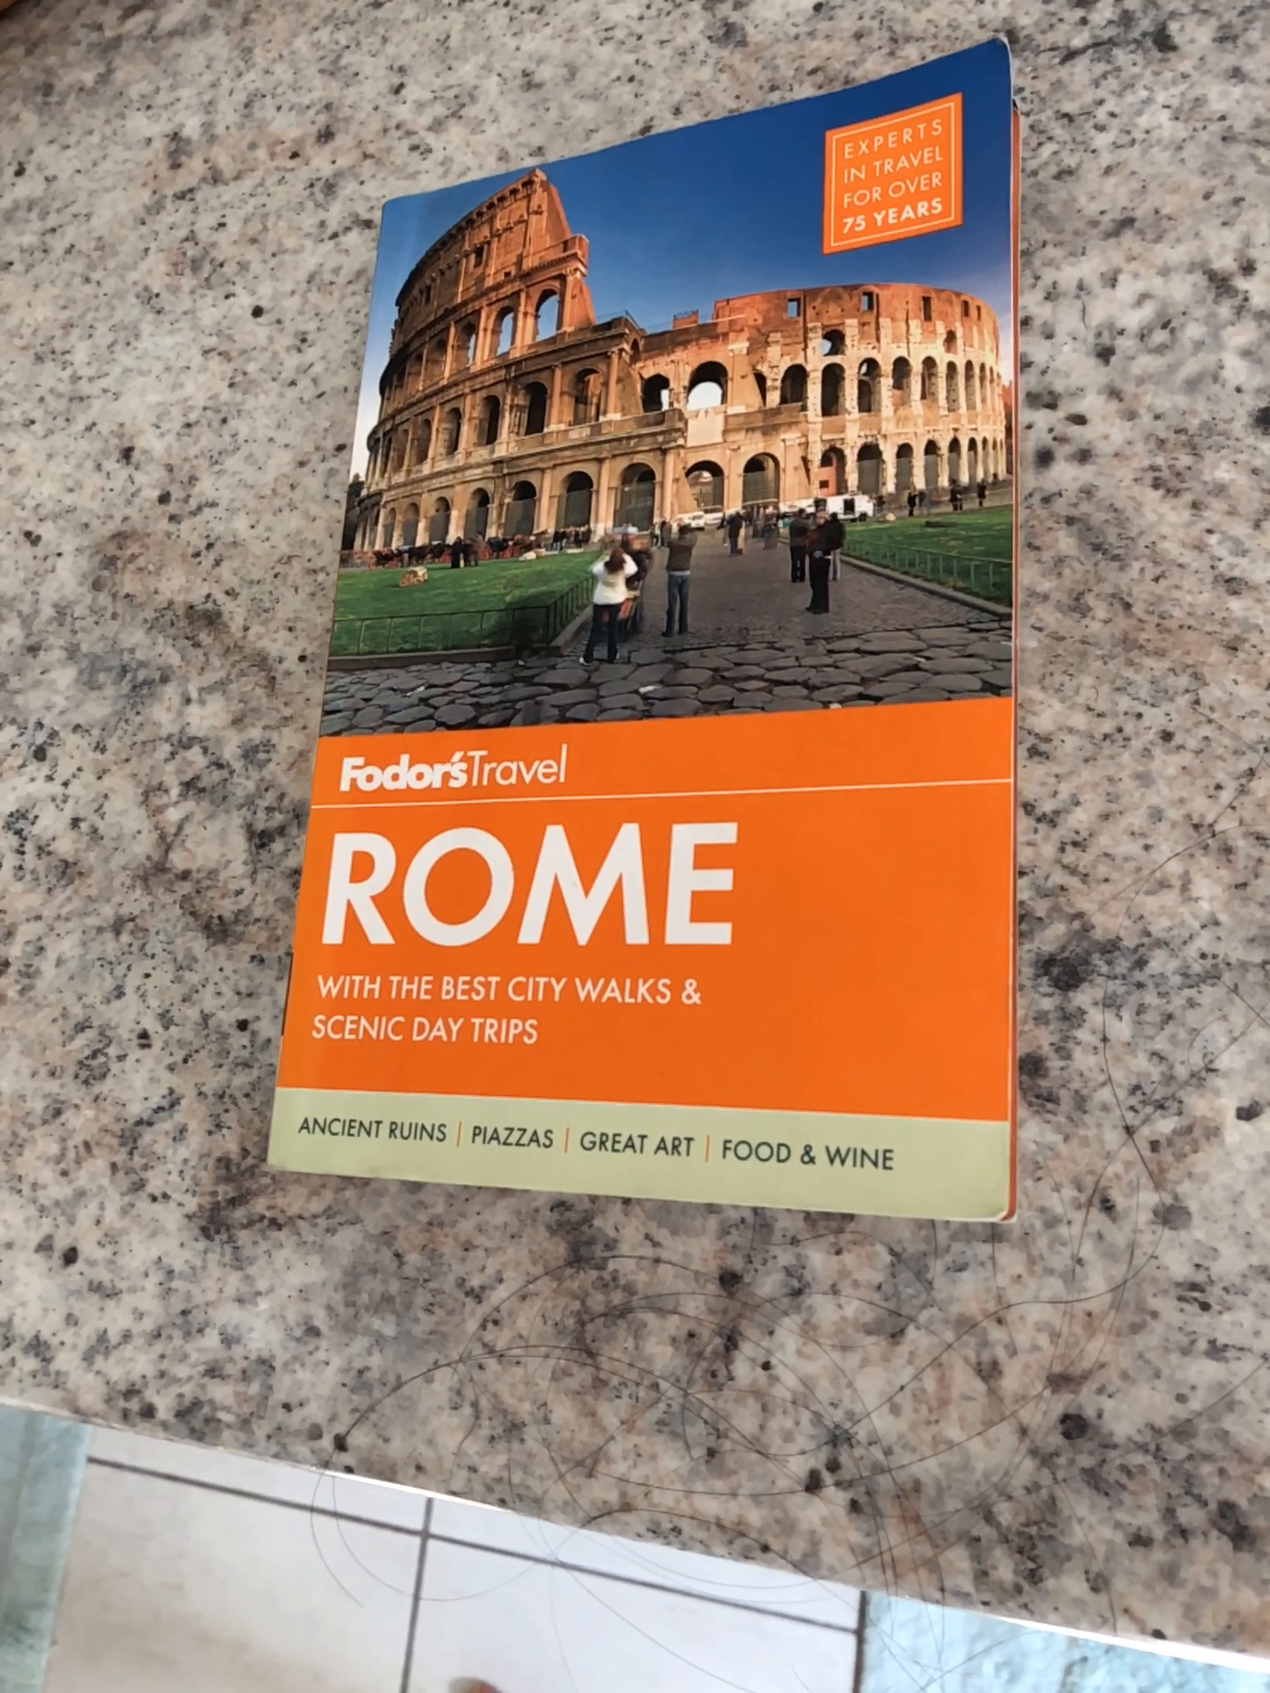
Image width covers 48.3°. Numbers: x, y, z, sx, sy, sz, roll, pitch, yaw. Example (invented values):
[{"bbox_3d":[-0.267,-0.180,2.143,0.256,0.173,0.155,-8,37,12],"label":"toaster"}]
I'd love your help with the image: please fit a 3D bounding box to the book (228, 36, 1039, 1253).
[{"bbox_3d":[0.002,-0.038,0.264,0.139,0.024,0.207,-1,76,23],"label":"book"}]
